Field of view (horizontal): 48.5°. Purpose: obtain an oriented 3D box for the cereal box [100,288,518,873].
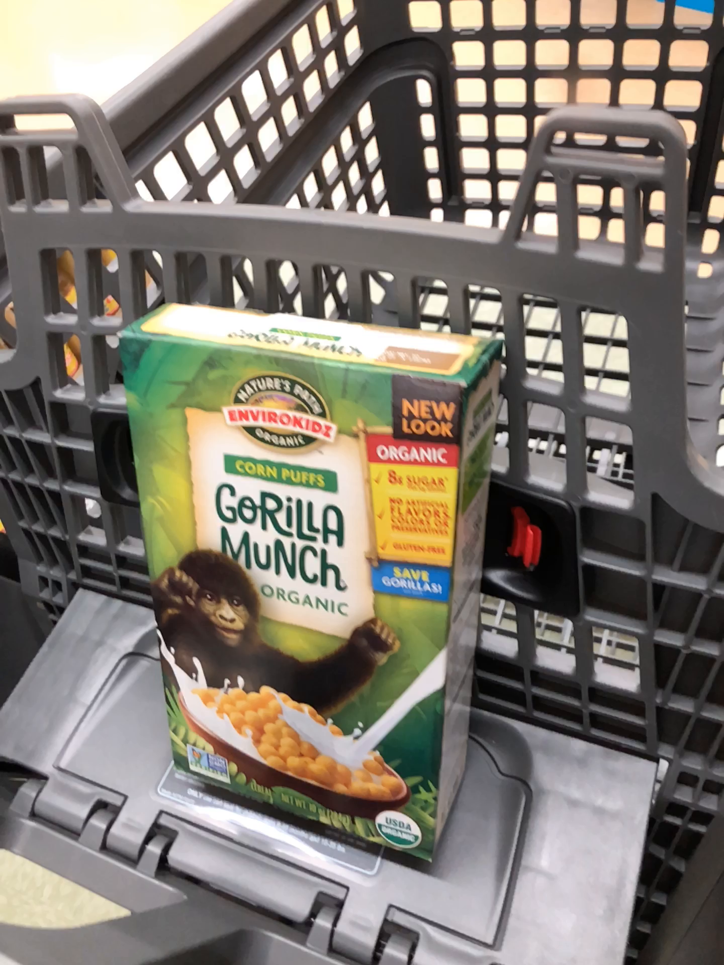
[{"bbox_3d":[-0.022,0.050,0.396,0.160,0.260,0.070,11,30,21],"label":"cereal box"}]
